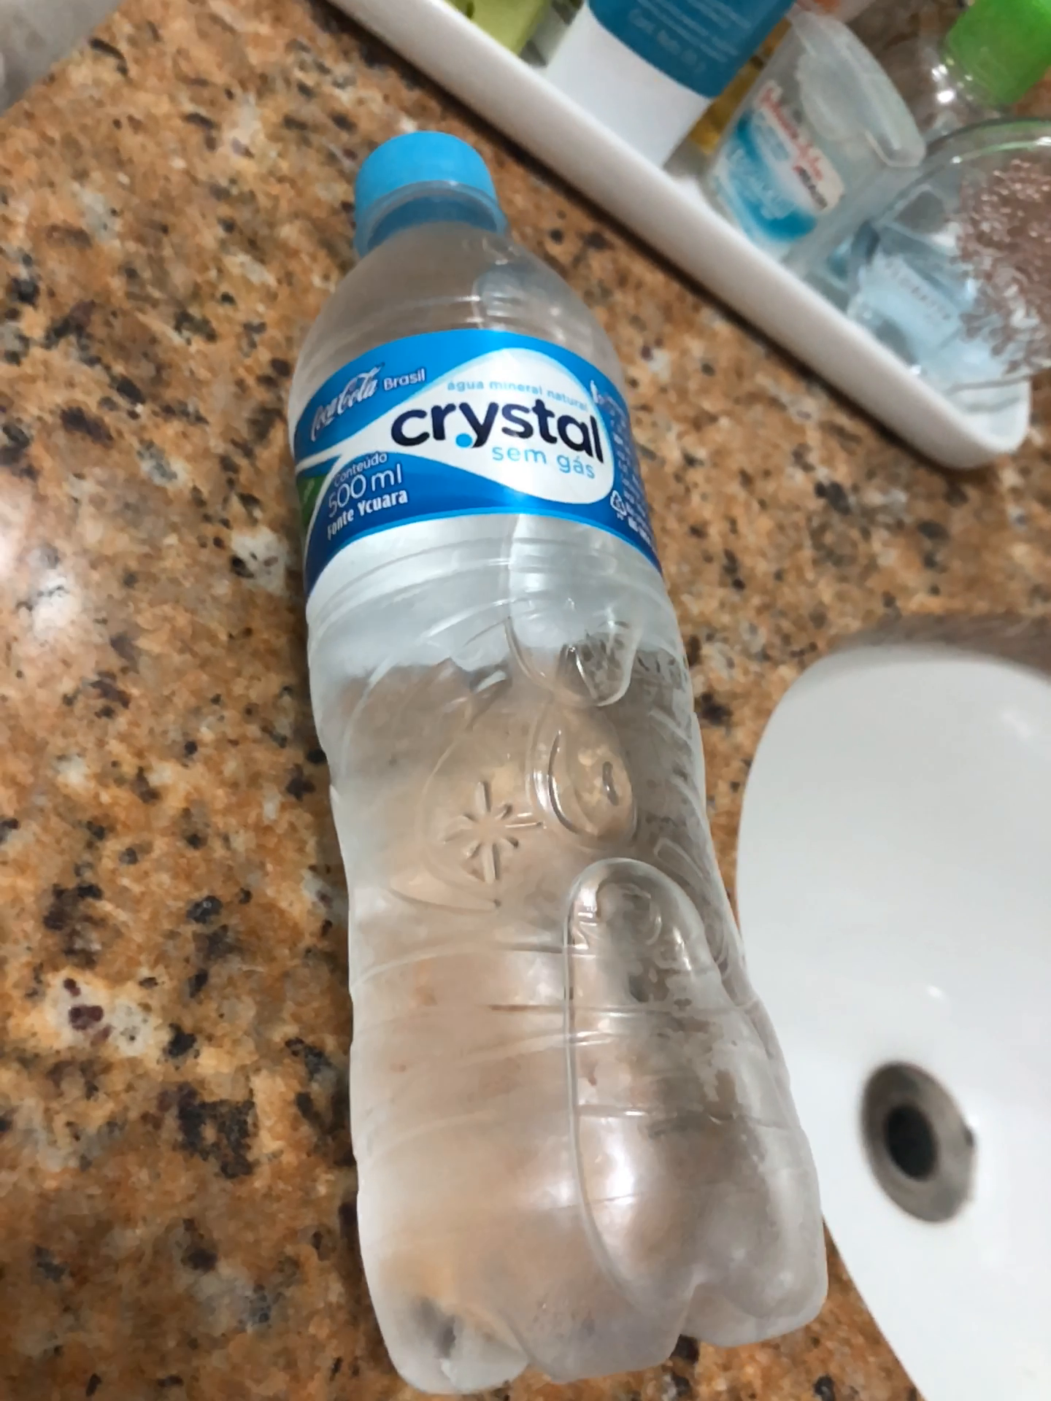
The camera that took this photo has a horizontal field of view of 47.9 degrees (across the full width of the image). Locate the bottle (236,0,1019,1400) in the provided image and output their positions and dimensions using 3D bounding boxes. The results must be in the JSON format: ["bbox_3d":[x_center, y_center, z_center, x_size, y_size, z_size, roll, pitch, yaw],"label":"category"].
[{"bbox_3d":[0.000,-0.017,0.196,0.070,0.050,0.230,7,60,-31],"label":"bottle"}]
